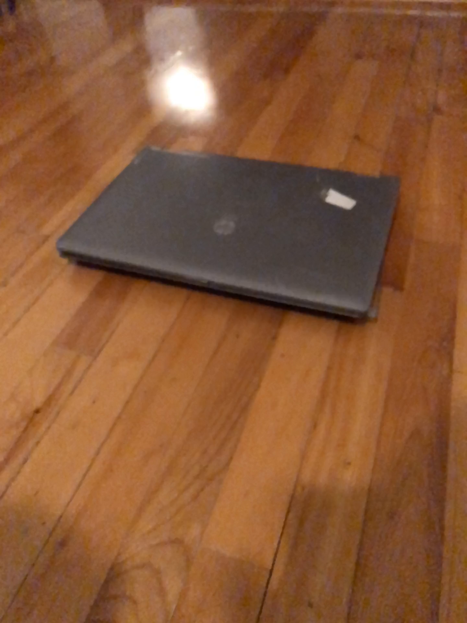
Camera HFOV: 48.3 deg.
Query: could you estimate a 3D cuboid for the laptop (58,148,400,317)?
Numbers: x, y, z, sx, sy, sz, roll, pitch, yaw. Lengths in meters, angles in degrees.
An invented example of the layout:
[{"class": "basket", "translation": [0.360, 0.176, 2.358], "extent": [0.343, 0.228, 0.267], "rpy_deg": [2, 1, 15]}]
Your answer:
[{"class": "laptop", "translation": [0.002, -0.119, 0.649], "extent": [0.363, 0.010, 0.241], "rpy_deg": [12, 49, 17]}]
